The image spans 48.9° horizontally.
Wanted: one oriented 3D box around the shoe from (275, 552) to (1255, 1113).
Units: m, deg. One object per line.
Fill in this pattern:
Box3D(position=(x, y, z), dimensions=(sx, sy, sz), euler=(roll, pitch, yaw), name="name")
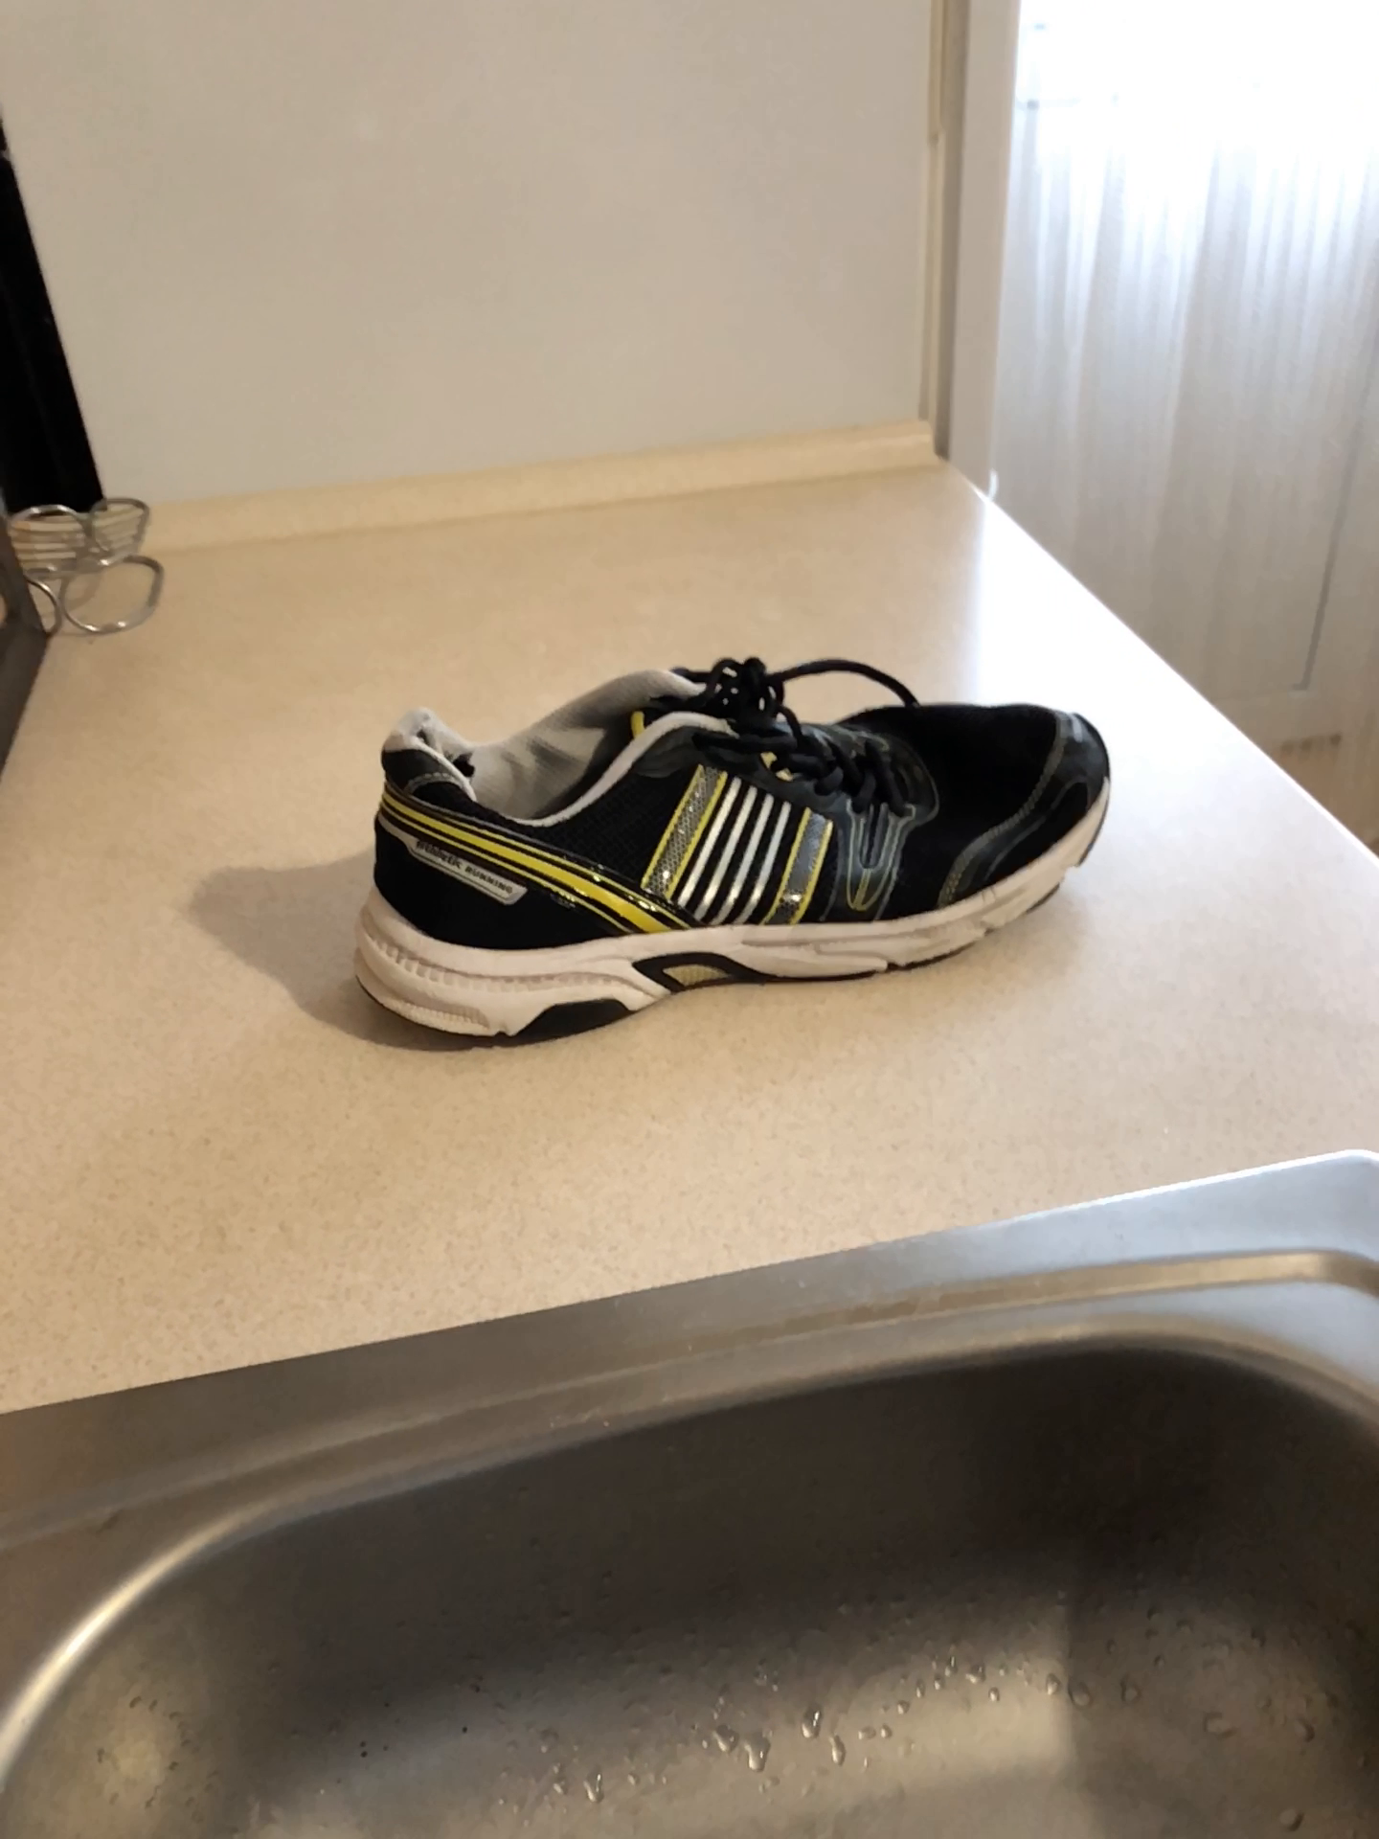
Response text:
Box3D(position=(0.023, -0.039, 0.538), dimensions=(0.310, 0.099, 0.111), euler=(-12, 36, -11), name="shoe")
